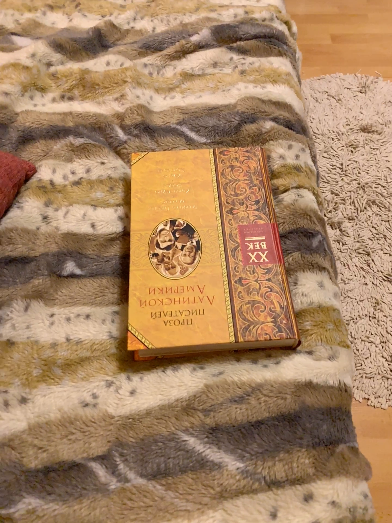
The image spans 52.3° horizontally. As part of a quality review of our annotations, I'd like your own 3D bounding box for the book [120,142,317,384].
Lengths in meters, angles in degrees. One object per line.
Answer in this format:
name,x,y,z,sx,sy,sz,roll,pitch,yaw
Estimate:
book,0.012,-0.011,0.456,0.180,0.060,0.272,-4,60,-2
